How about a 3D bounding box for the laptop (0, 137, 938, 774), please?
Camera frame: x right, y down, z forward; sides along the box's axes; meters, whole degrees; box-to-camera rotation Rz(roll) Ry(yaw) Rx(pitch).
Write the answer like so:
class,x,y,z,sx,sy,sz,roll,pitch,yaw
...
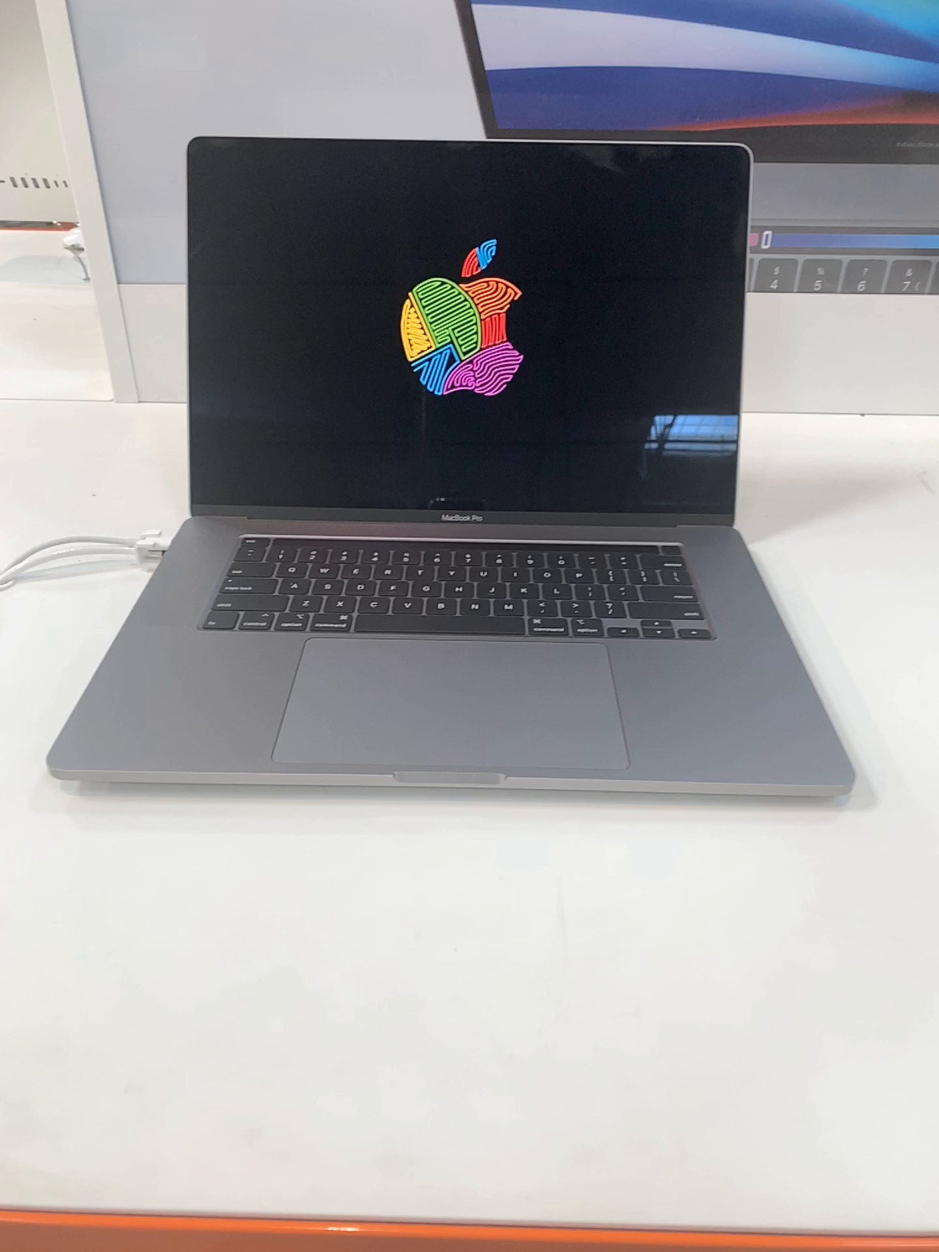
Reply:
class,x,y,z,sx,sy,sz,roll,pitch,yaw
laptop,-0.003,-0.119,0.498,0.341,0.203,0.347,1,32,0
